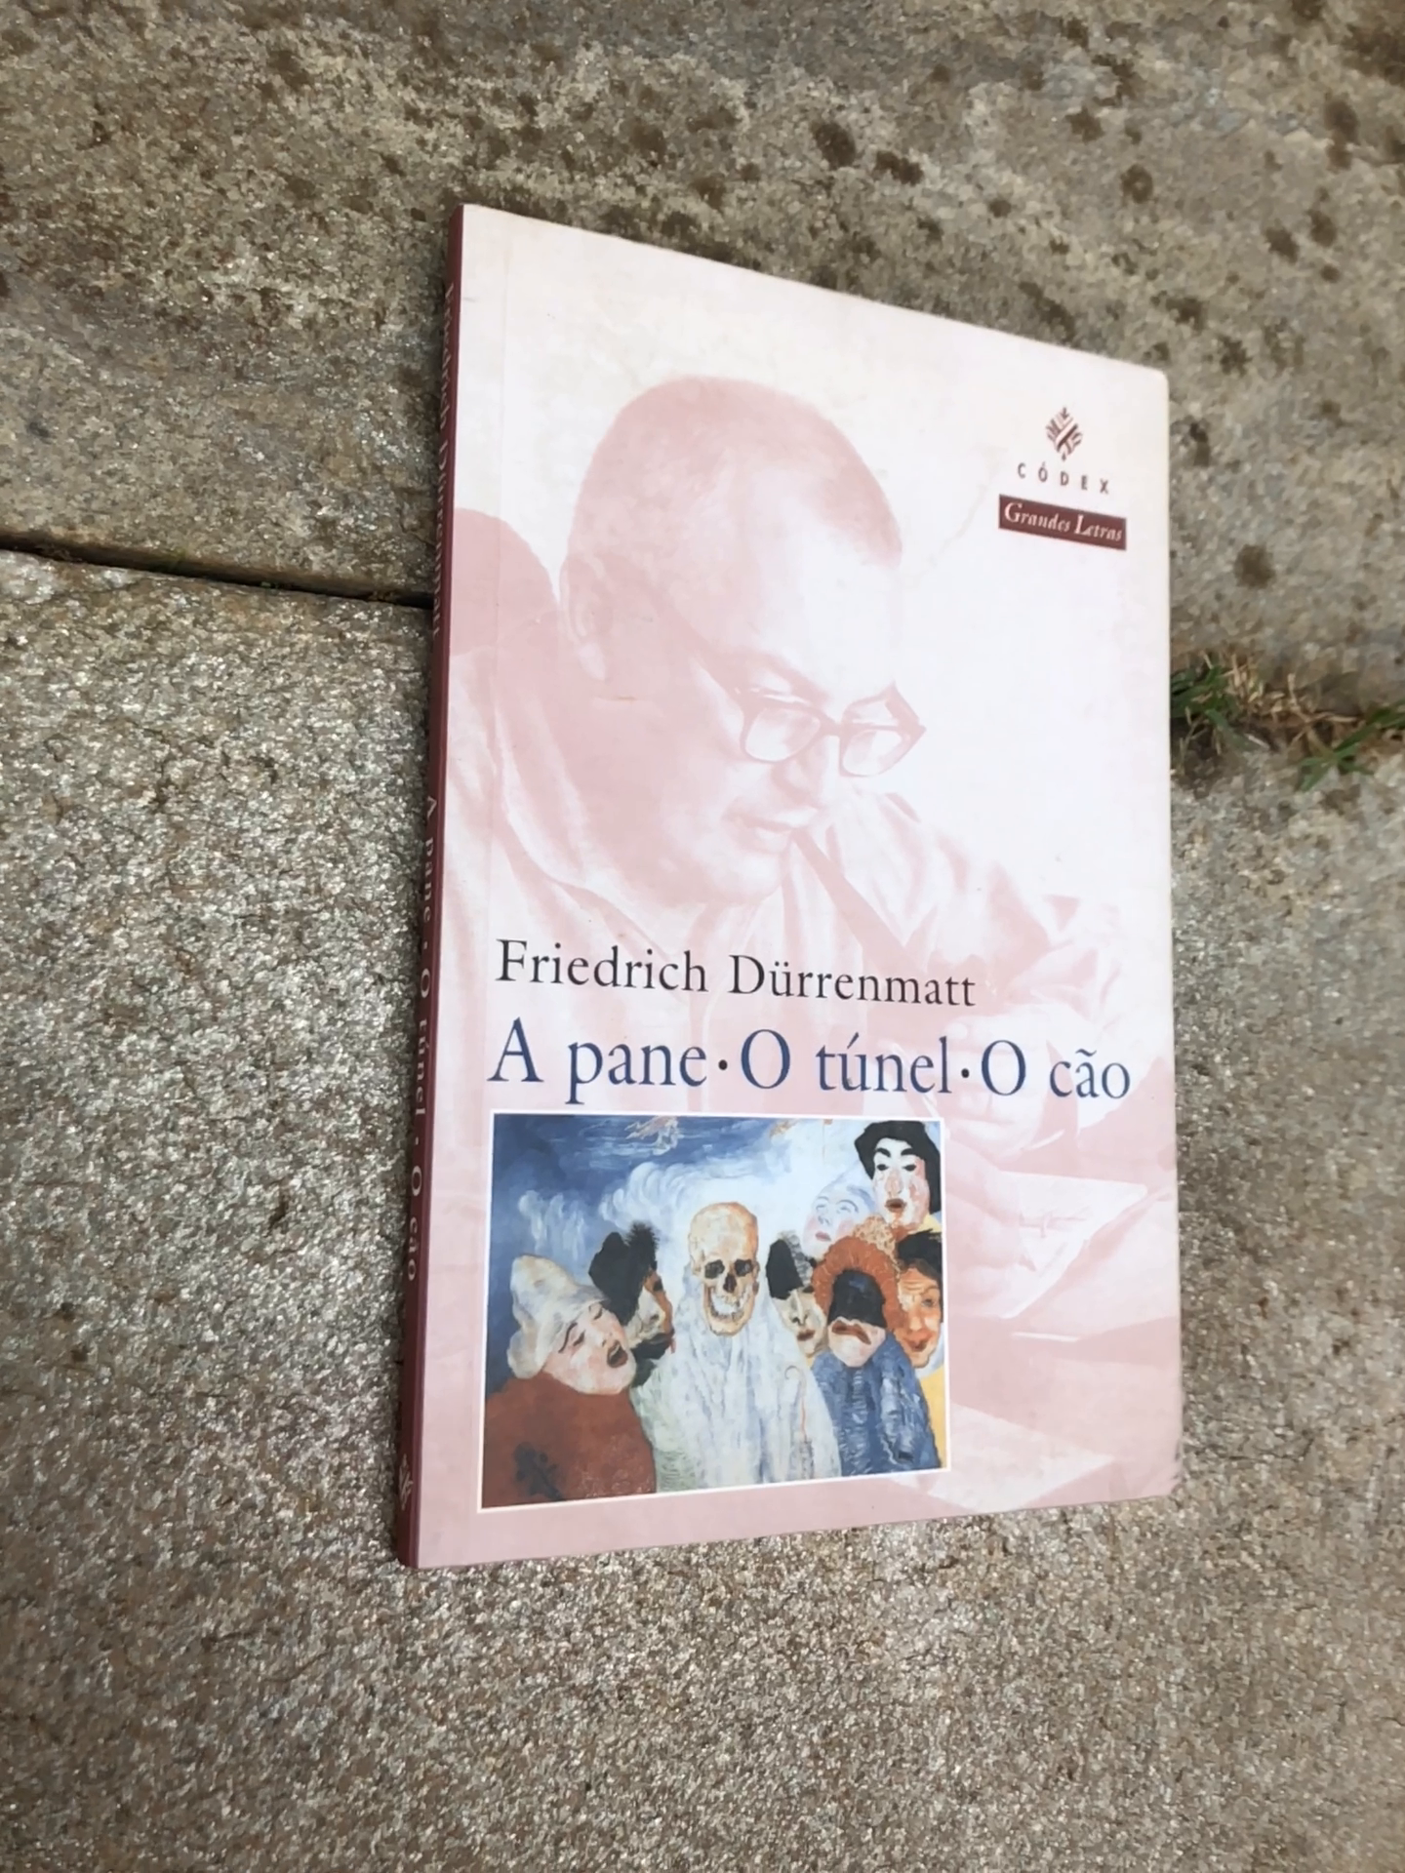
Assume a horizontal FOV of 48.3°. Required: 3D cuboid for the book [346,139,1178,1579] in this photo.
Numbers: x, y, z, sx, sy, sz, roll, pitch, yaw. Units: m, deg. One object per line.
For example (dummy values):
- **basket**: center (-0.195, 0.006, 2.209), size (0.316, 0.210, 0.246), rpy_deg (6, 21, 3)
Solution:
- **book**: center (0.018, -0.011, 0.262), size (0.138, 0.020, 0.210), rpy_deg (5, 83, -23)
